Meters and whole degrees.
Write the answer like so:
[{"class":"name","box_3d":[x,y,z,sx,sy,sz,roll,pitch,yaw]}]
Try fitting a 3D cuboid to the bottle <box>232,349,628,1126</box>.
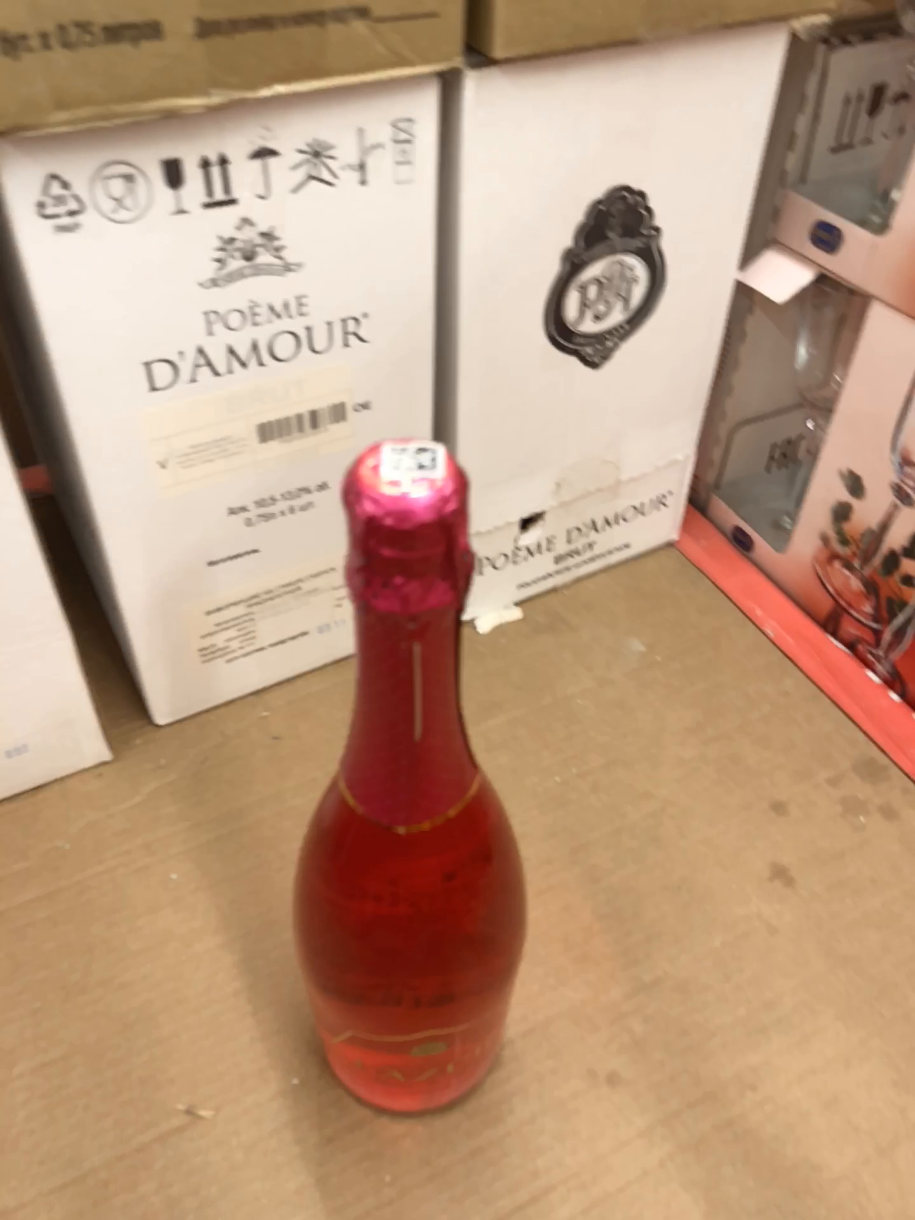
[{"class":"bottle","box_3d":[-0.017,0.074,0.366,0.090,0.320,0.090,1,43,-1]}]
